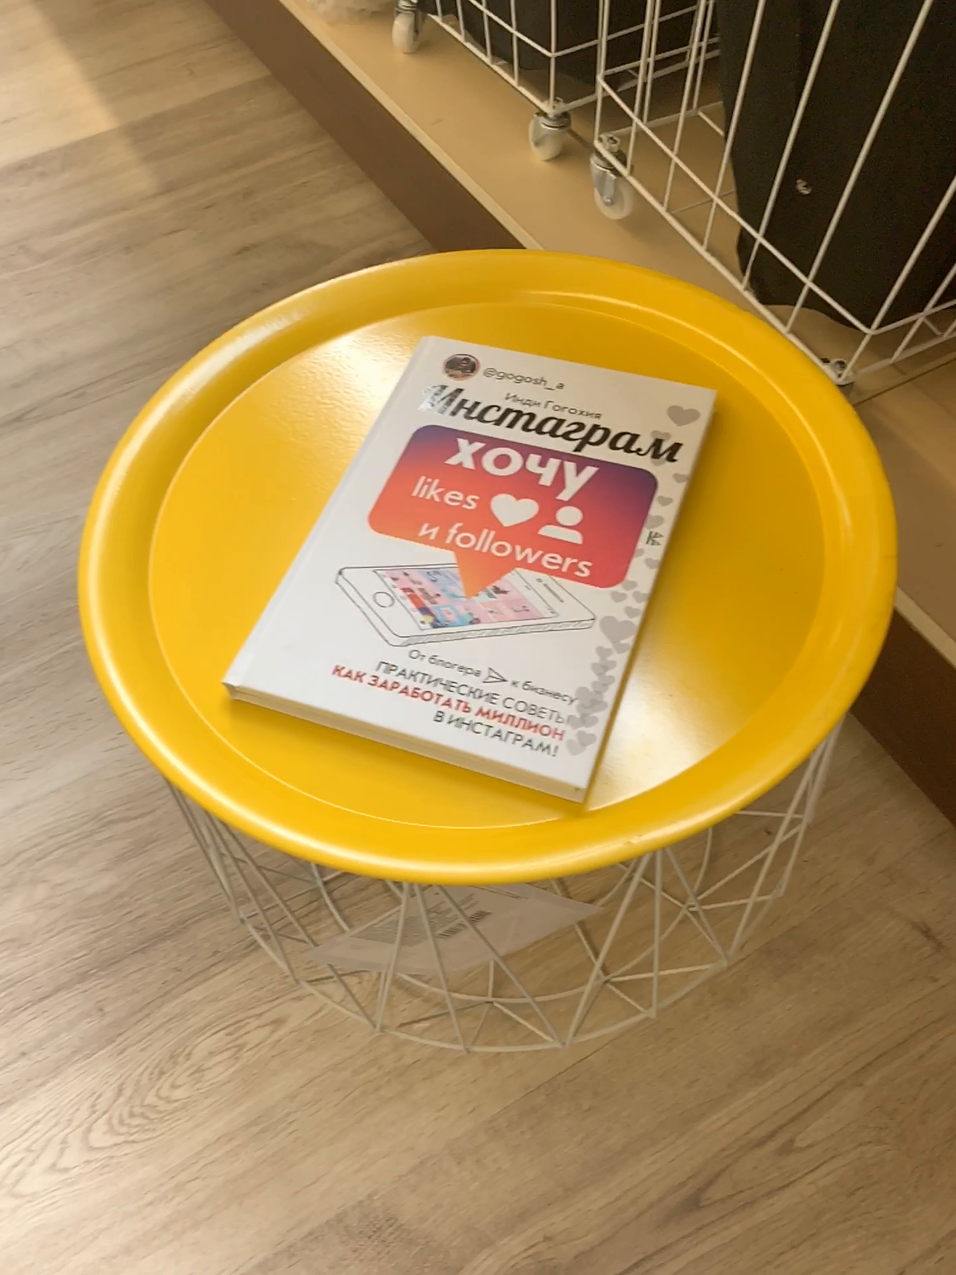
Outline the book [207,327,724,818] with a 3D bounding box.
[{"bbox_3d":[0.005,-0.050,0.466,0.170,0.020,0.240,14,58,14],"label":"book"}]
